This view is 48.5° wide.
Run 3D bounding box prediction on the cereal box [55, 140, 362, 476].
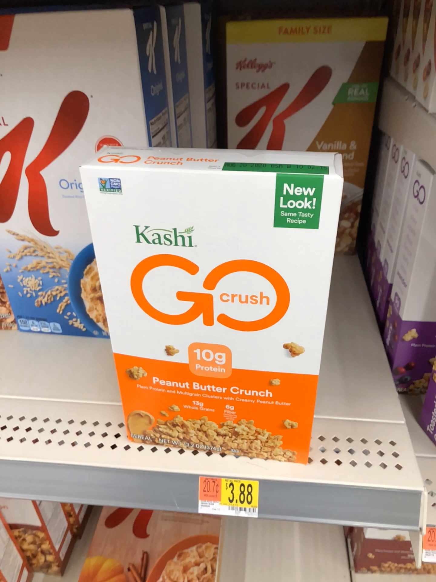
[{"bbox_3d":[0.000,0.025,0.352,0.170,0.249,0.050,4,34,10],"label":"cereal box"}]
